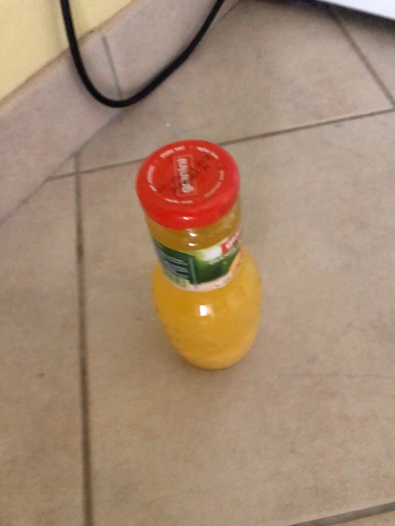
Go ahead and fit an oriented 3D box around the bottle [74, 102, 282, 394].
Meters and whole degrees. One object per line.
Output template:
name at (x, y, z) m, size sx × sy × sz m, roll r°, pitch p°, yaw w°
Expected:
bottle at (0.001, 0.006, 0.241) m, size 0.060 × 0.159 × 0.070 m, roll 16°, pitch 61°, yaw 15°
